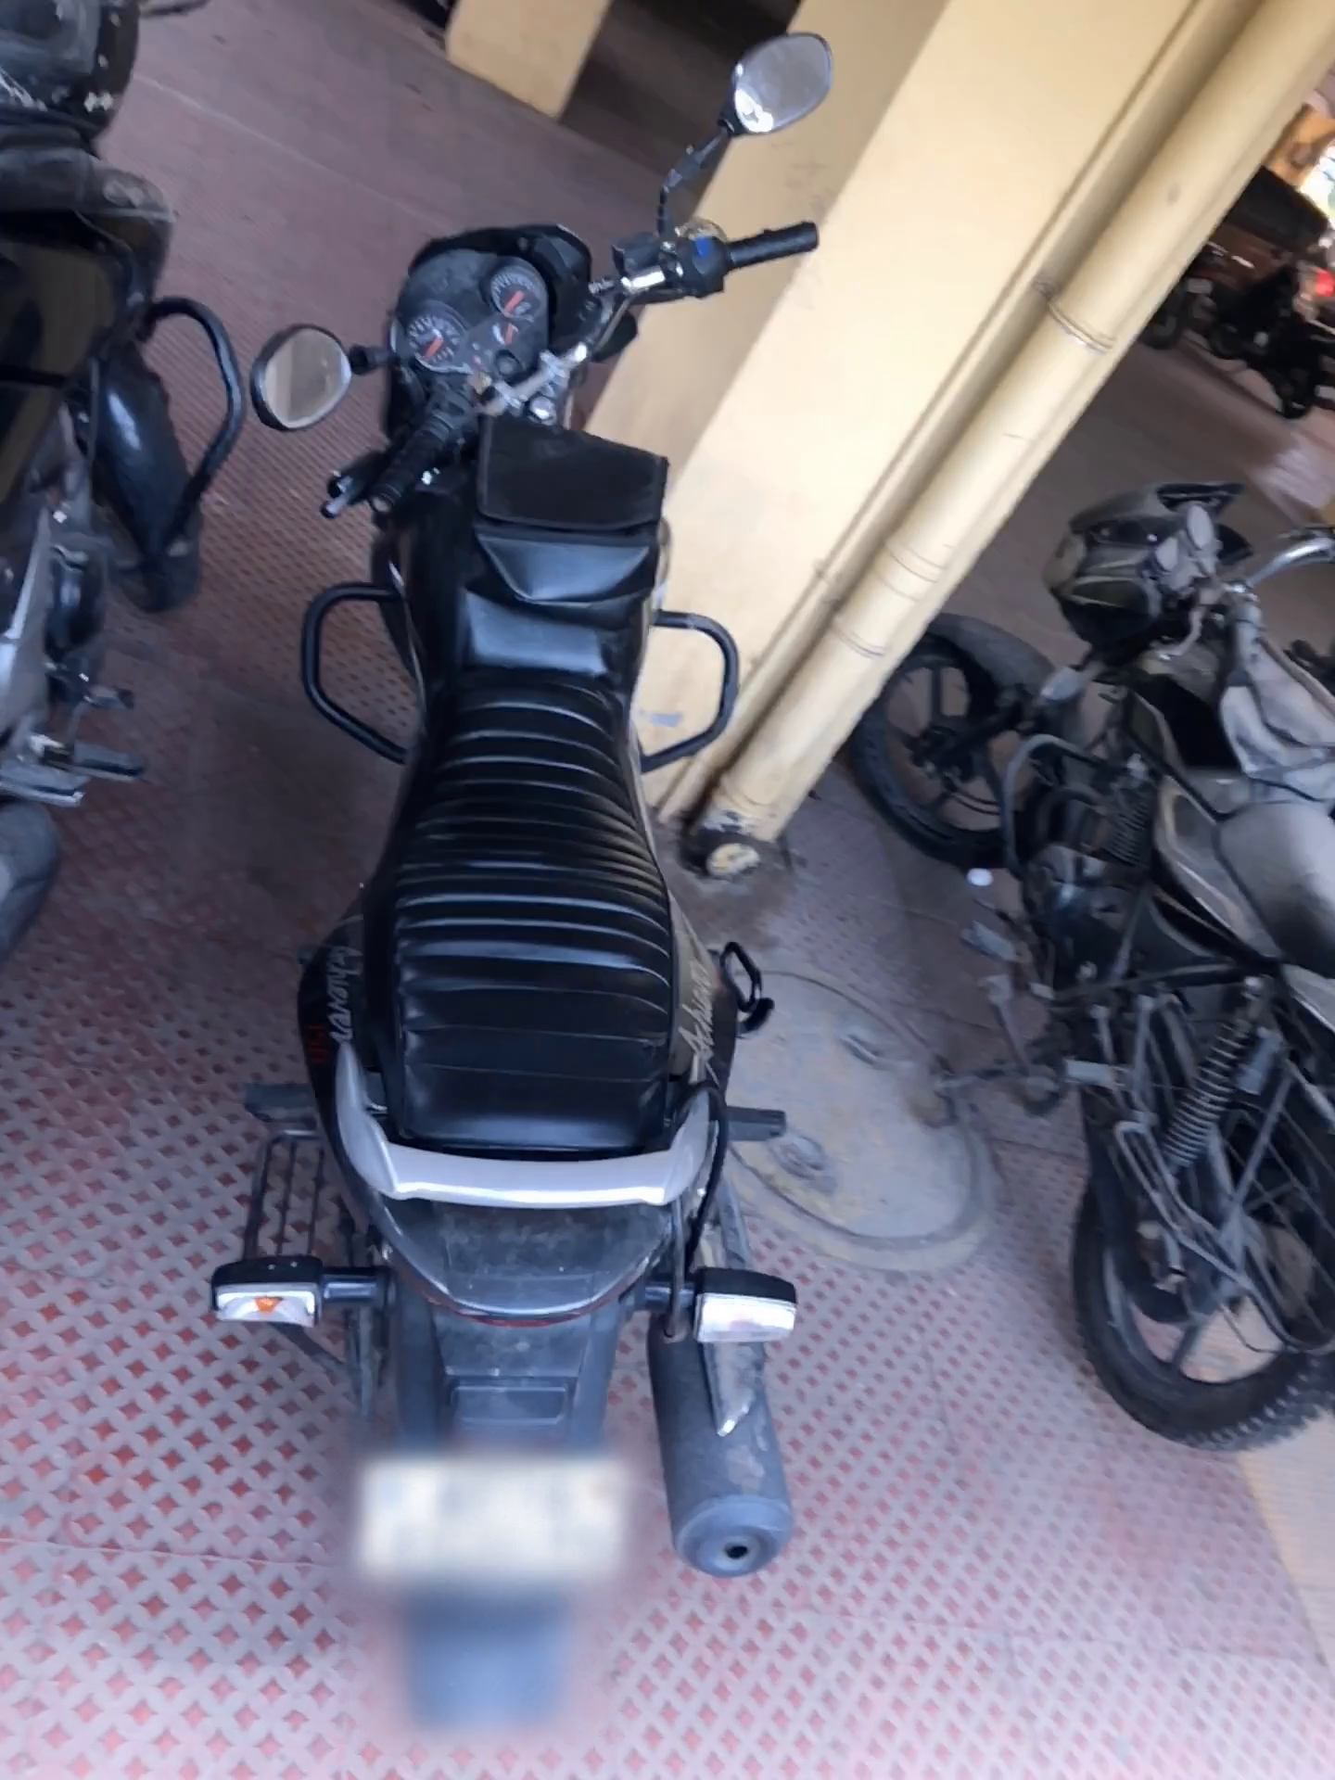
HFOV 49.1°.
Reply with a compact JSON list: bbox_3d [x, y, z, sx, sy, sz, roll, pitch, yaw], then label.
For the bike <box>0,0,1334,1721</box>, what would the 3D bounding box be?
[{"bbox_3d":[-0.316,-0.234,1.697,0.731,1.126,1.767,15,37,-27],"label":"bike"}]
